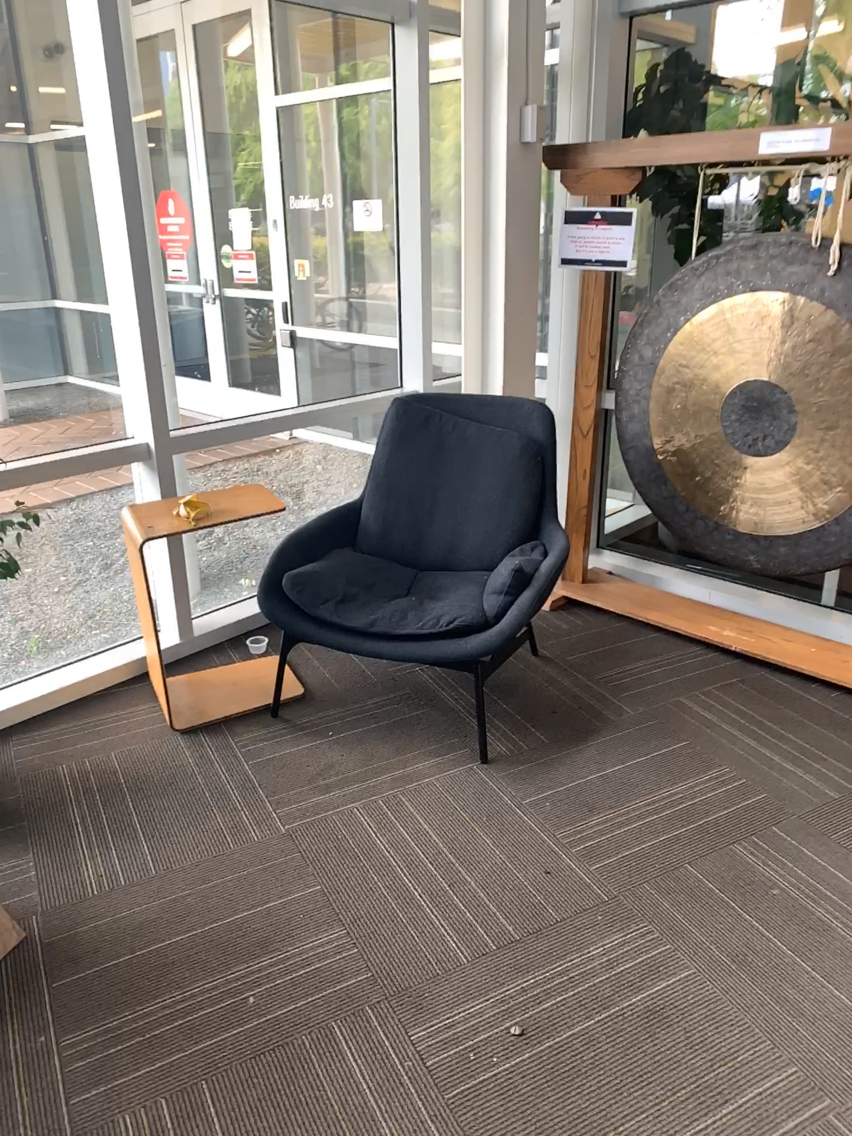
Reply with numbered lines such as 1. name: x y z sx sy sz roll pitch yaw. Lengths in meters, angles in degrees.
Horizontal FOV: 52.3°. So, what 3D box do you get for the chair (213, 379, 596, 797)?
1. chair: -0.004 -0.027 2.869 0.901 0.995 0.943 7 22 20
